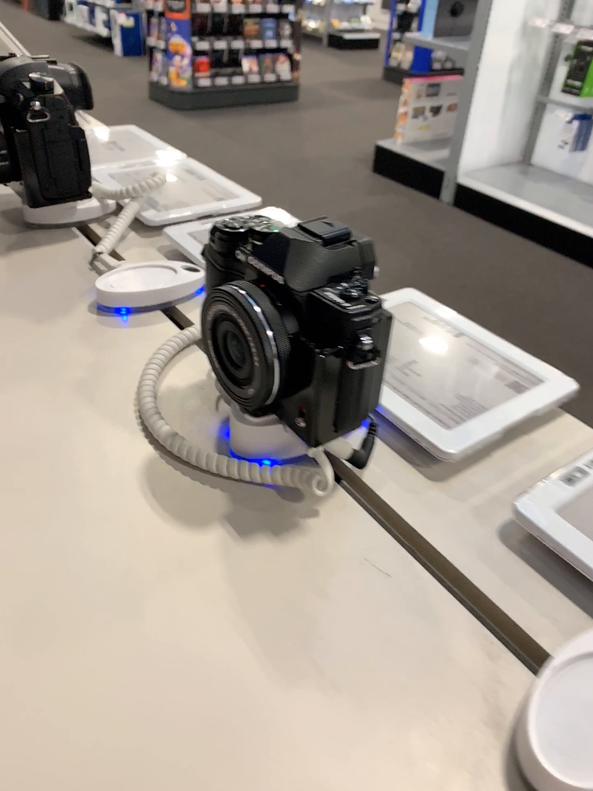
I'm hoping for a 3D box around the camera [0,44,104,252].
[{"bbox_3d":[-0.285,-0.209,0.494,0.200,0.099,0.141,-23,45,-31],"label":"camera"}]

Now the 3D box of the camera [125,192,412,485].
[{"bbox_3d":[-0.020,-0.037,0.311,0.070,0.080,0.131,-23,45,-31],"label":"camera"}]
